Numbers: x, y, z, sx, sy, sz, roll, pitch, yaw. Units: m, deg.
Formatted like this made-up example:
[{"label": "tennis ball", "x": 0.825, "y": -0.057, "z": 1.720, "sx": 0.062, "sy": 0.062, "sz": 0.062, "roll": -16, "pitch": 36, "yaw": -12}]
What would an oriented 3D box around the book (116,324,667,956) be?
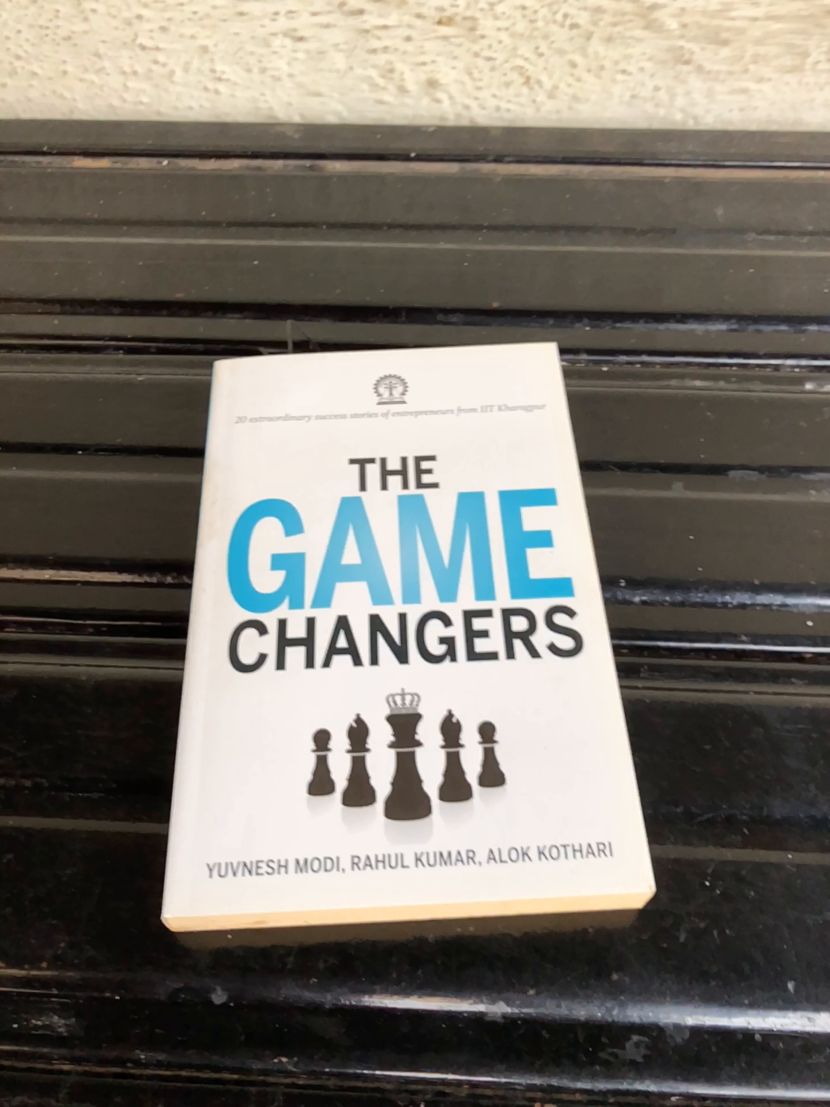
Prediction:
[{"label": "book", "x": -0.010, "y": 0.013, "z": 0.305, "sx": 0.140, "sy": 0.030, "sz": 0.211, "roll": -3, "pitch": 57, "yaw": 0}]
